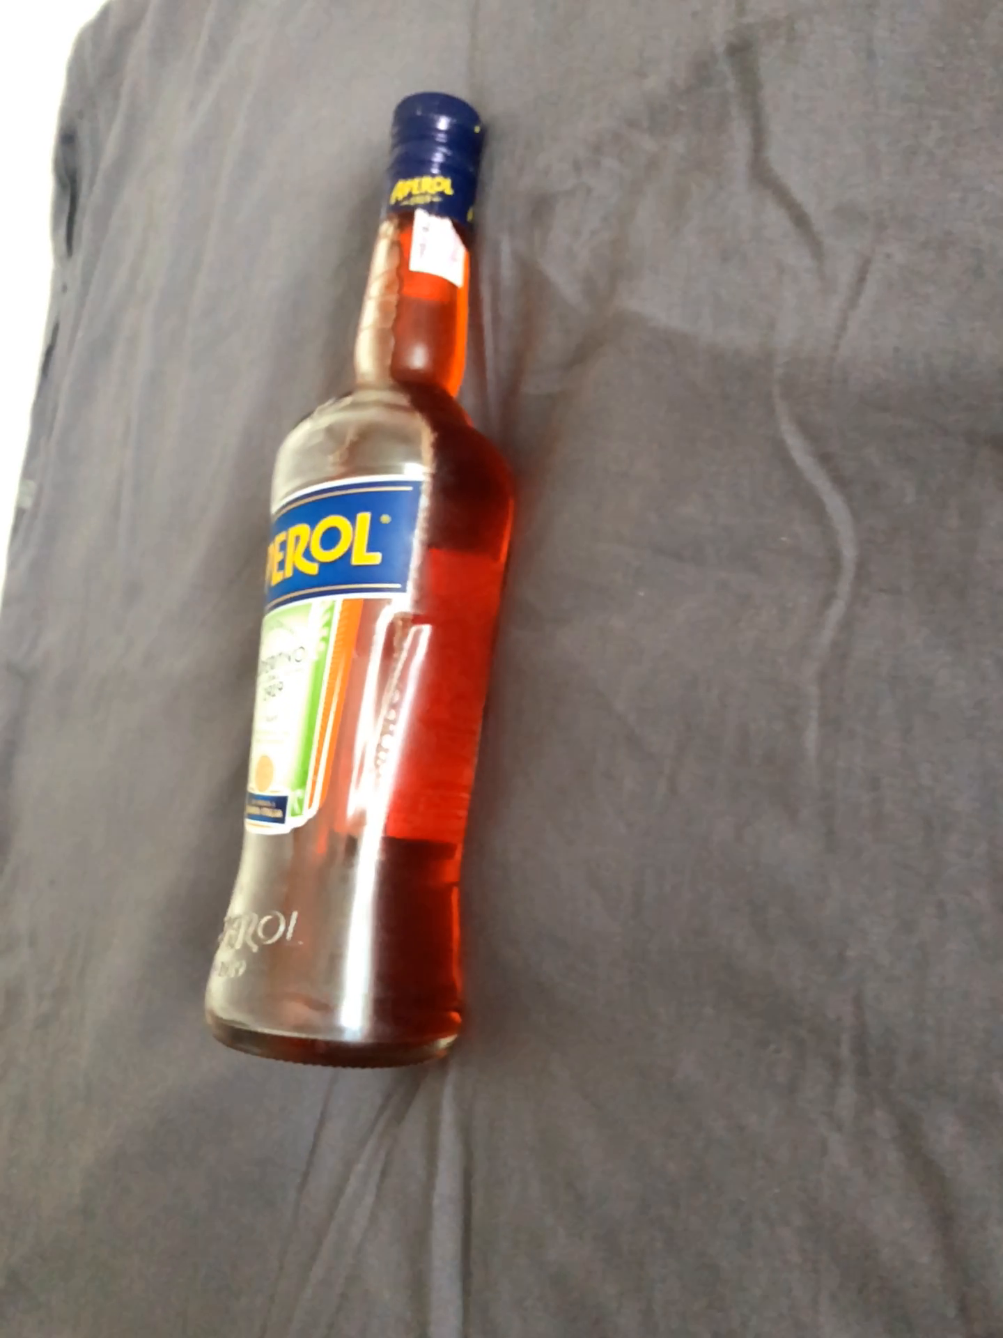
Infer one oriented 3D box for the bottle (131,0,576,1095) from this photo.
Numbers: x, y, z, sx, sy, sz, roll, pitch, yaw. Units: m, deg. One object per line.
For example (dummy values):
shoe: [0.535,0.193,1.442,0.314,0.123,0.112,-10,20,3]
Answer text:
bottle: [-0.048,-0.045,0.358,0.101,0.070,0.320,-4,79,54]
